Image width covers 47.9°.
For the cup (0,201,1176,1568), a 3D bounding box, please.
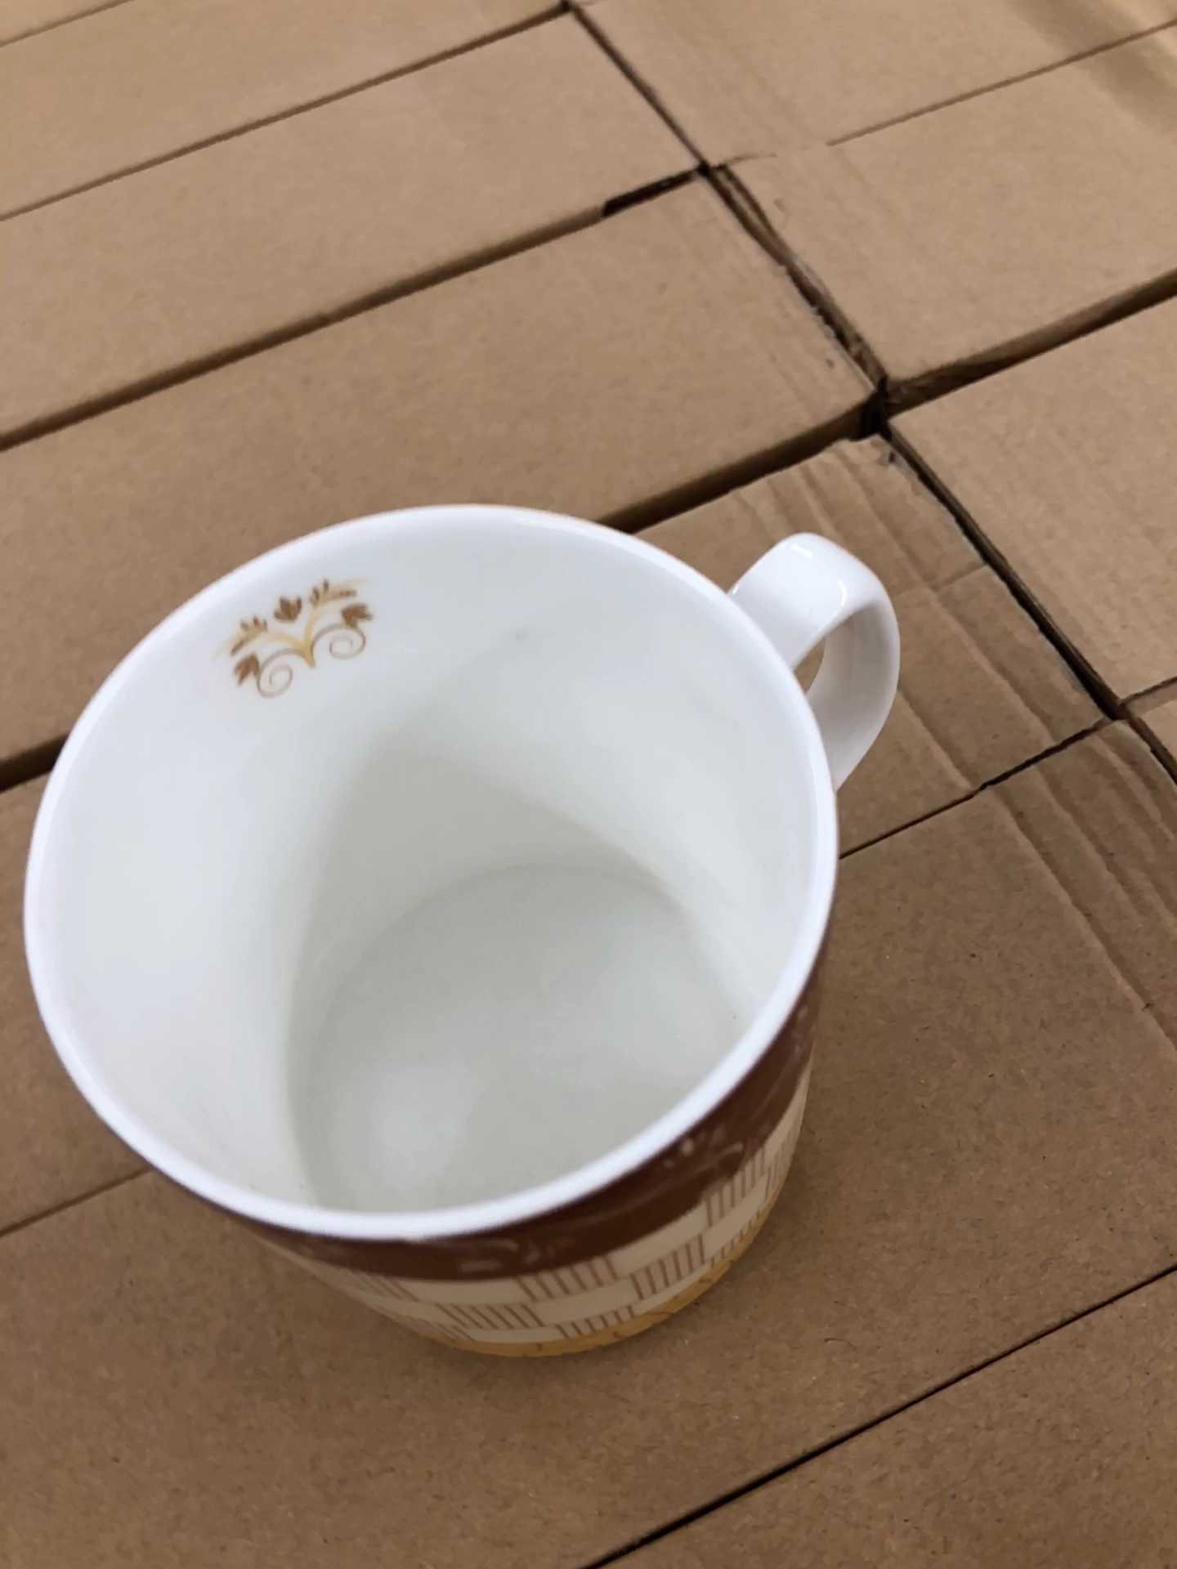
[{"bbox_3d":[0.003,0.015,0.137,0.070,0.080,0.100,33,69,22],"label":"cup"}]
